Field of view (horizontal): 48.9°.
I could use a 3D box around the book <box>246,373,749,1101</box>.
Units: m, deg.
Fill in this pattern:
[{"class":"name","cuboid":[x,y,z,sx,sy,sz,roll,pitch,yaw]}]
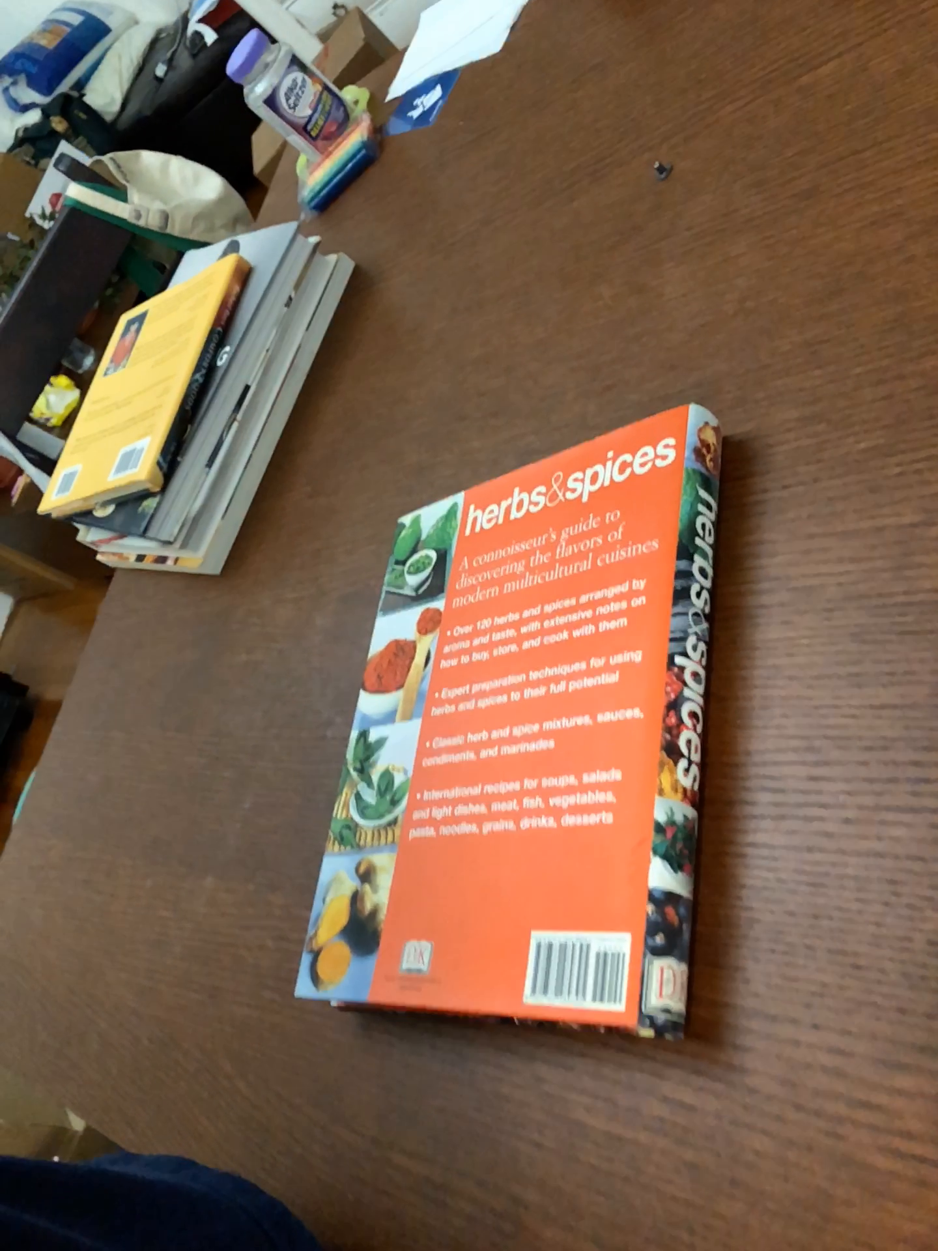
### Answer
[{"class":"book","cuboid":[0.011,0.044,0.453,0.210,0.040,0.271,-14,56,43]}]
